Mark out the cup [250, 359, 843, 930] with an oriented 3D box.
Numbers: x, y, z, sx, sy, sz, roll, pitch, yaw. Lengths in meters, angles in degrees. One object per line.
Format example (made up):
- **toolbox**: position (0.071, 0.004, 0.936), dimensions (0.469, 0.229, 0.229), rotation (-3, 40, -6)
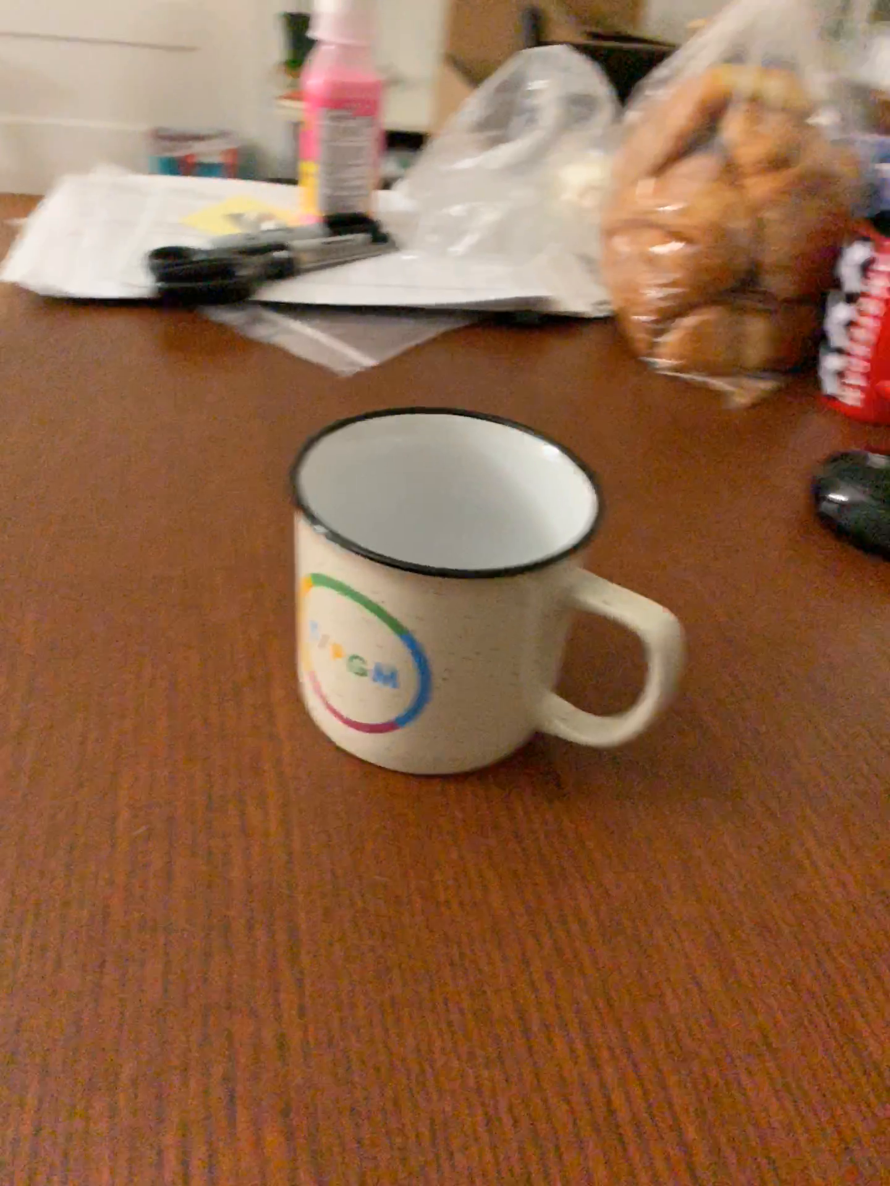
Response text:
- **cup**: position (0.027, 0.007, 0.307), dimensions (0.150, 0.099, 0.100), rotation (27, 42, 23)
